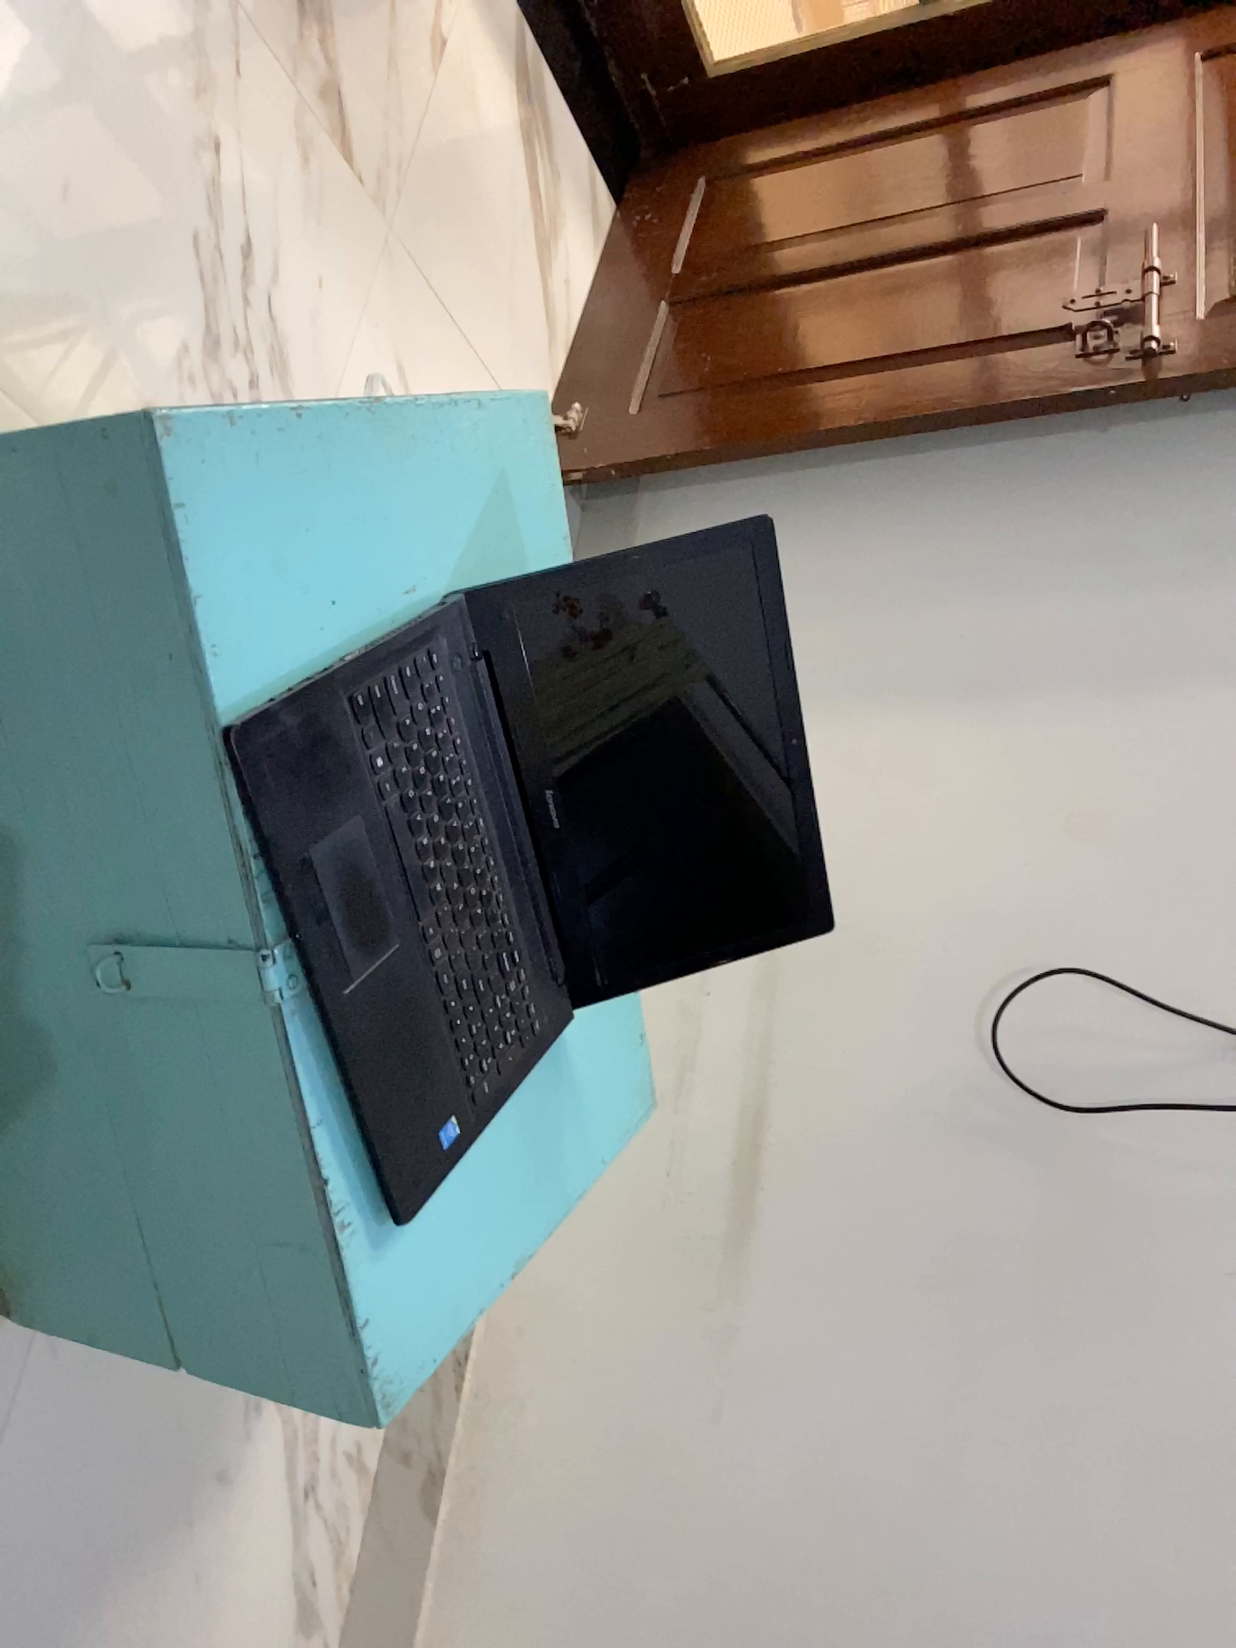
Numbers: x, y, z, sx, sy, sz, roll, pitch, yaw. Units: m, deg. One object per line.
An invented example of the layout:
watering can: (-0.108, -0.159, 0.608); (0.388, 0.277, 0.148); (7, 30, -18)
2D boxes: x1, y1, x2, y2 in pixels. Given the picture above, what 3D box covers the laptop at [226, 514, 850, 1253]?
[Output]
laptop: (-0.010, 0.016, 0.931); (0.425, 0.190, 0.371); (-46, 130, -52)
